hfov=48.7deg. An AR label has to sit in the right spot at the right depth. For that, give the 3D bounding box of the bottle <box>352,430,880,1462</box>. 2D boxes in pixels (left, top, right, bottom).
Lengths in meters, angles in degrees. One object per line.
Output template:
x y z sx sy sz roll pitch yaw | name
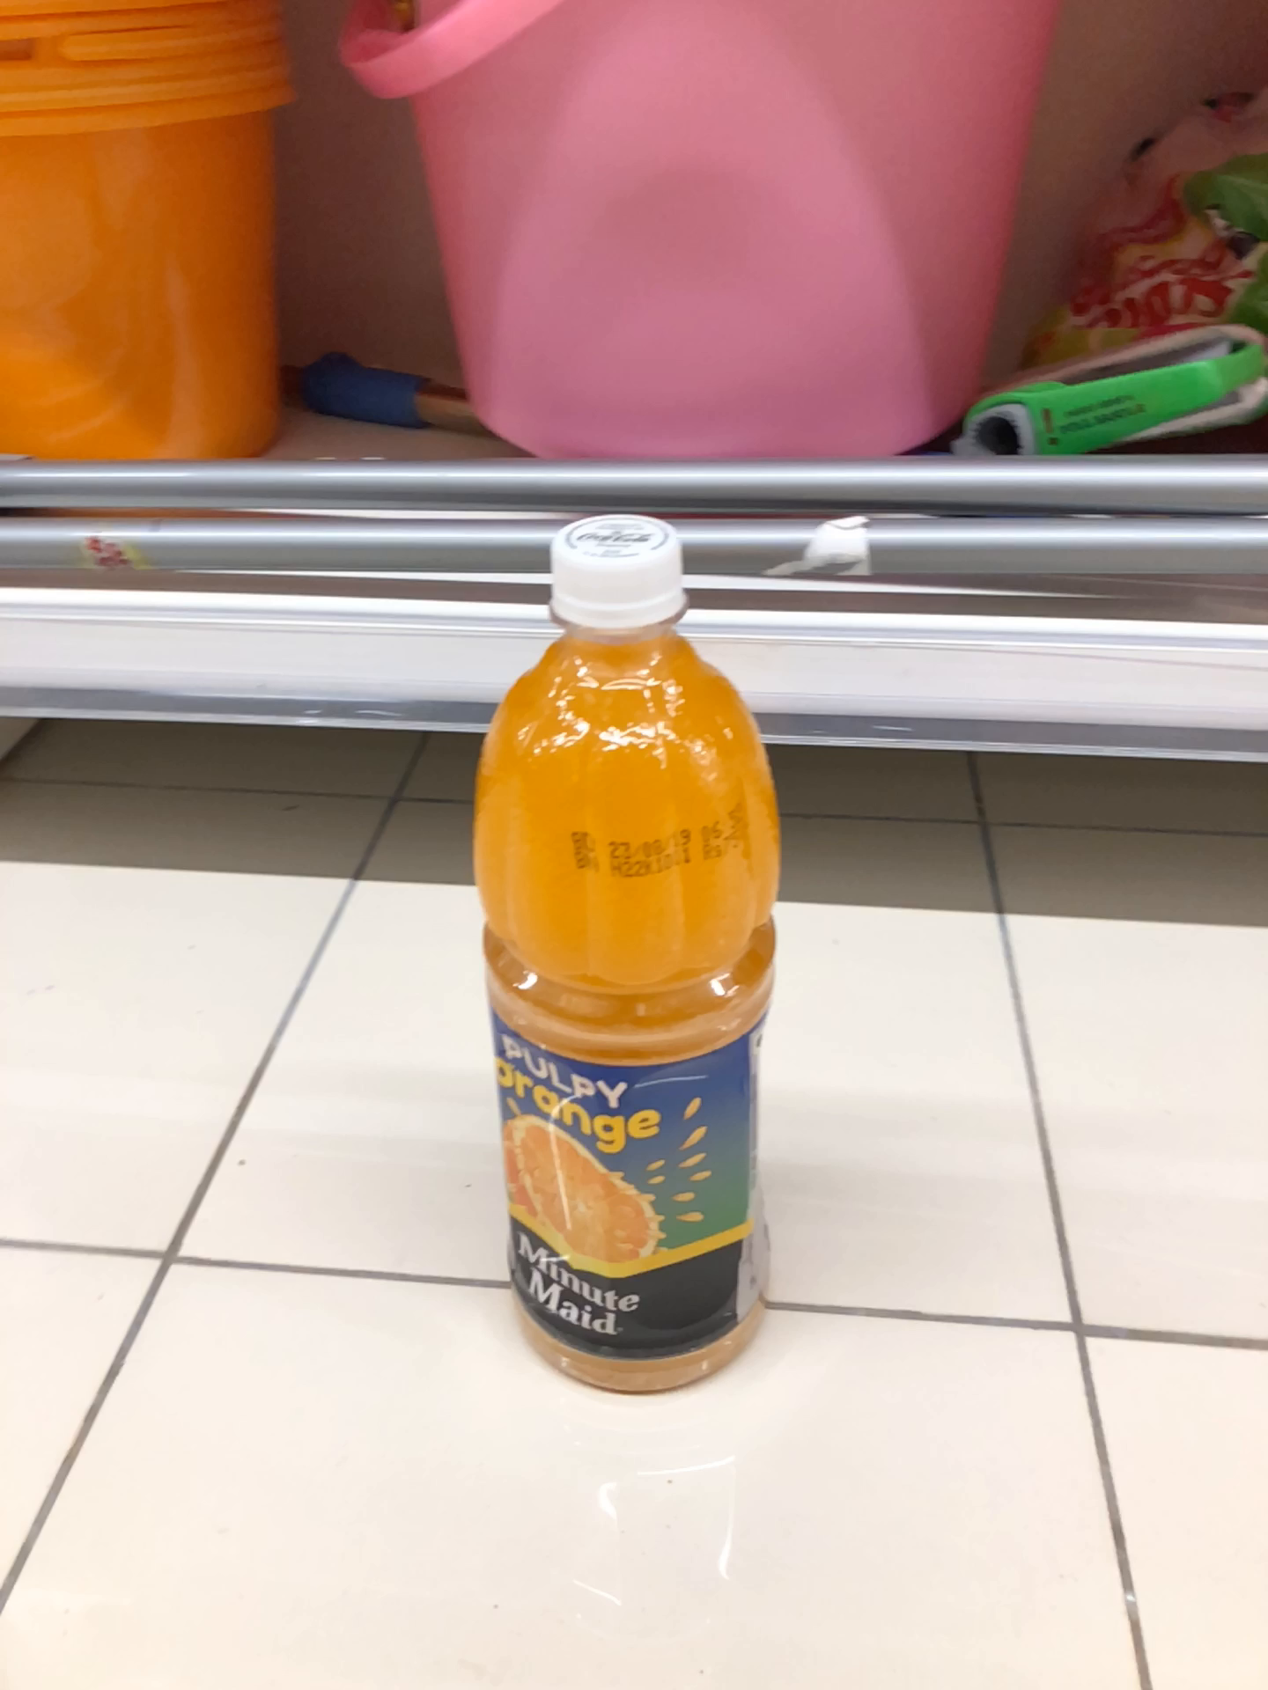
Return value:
0.000 0.036 0.390 0.090 0.268 0.080 22 39 33 | bottle
